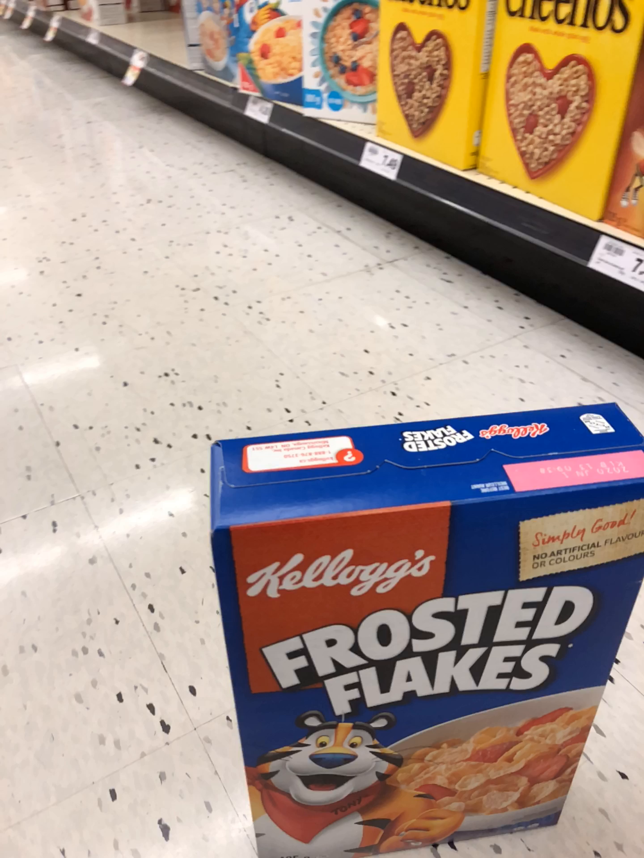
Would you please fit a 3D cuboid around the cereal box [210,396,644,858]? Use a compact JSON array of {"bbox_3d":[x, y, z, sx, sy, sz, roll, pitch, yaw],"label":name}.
[{"bbox_3d":[0.055,0.130,0.387,0.200,0.288,0.070,-5,37,-6],"label":"cereal box"}]
